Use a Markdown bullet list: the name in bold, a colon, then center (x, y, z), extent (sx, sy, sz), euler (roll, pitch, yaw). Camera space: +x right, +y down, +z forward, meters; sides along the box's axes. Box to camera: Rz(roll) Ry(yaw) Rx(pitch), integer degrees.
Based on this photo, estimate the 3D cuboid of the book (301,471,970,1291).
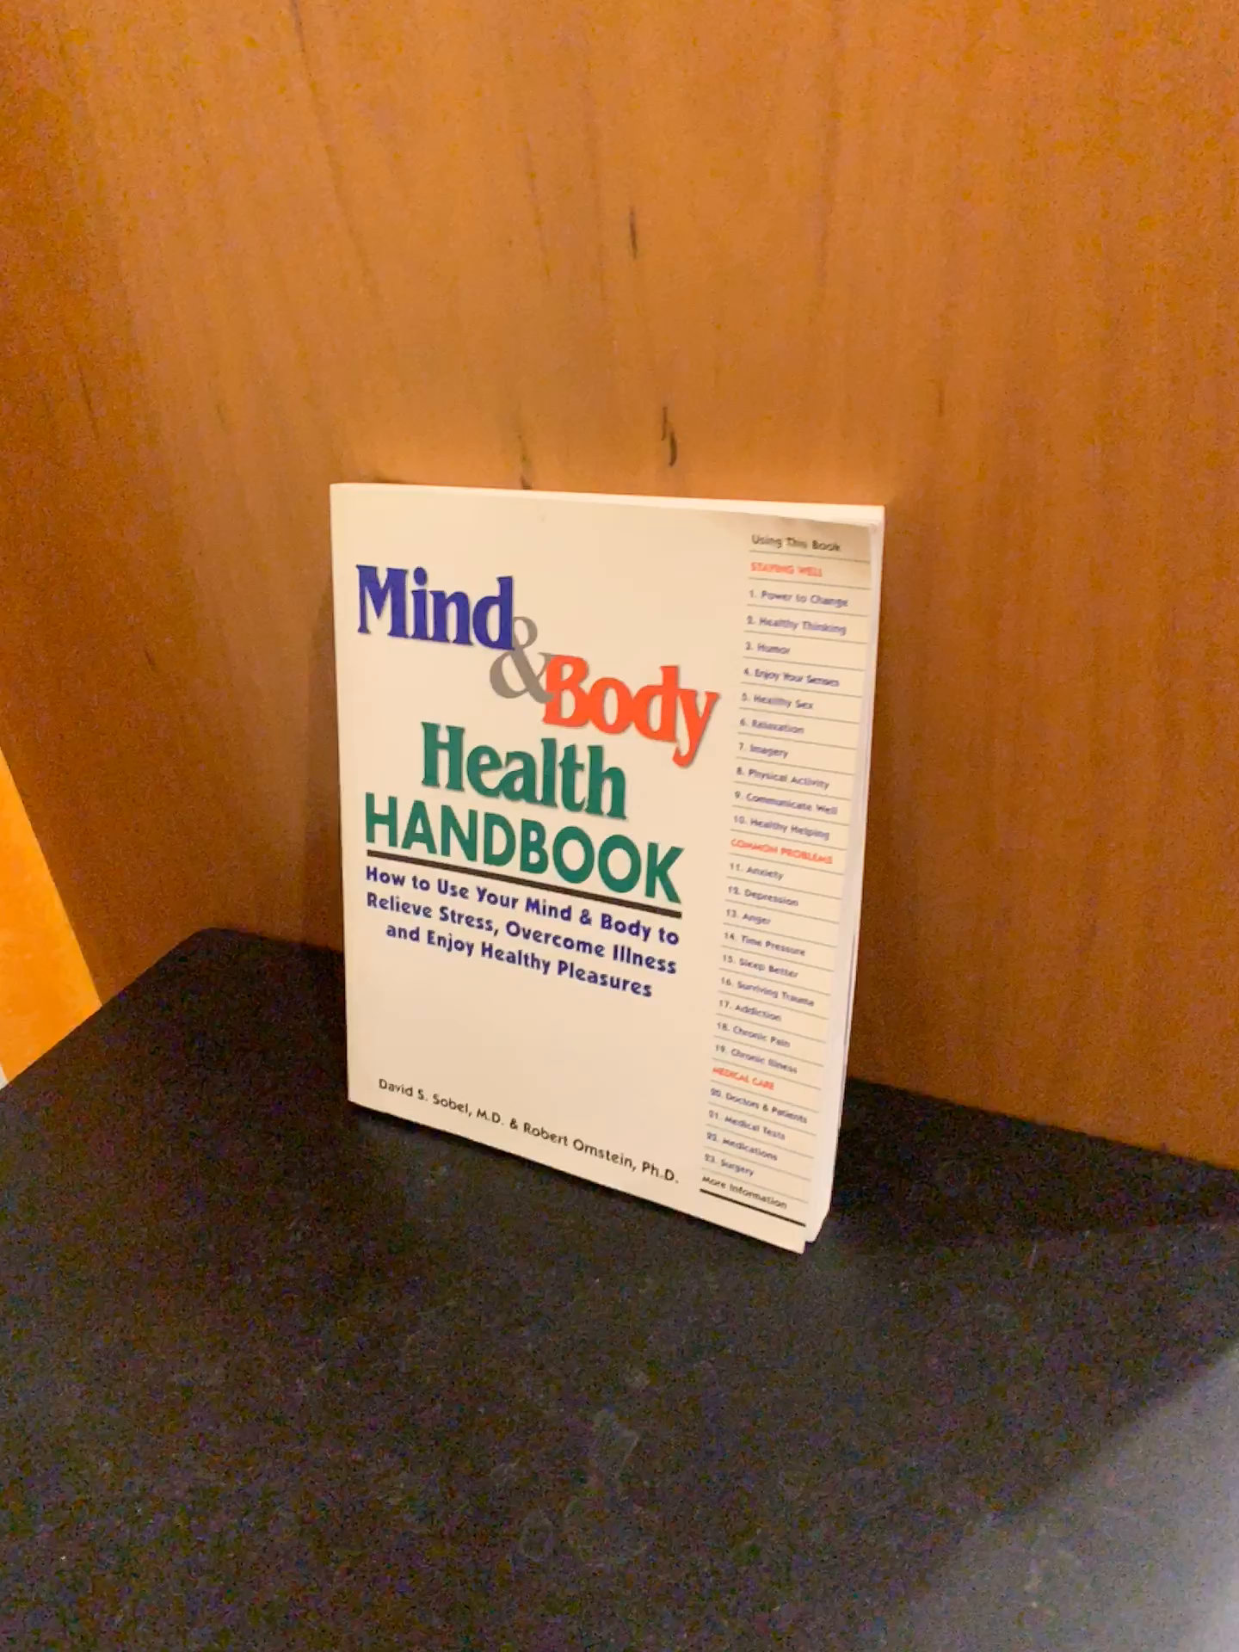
- **book**: center (-0.009, 0.007, 0.418), extent (0.210, 0.229, 0.040), euler (11, 17, 27)
